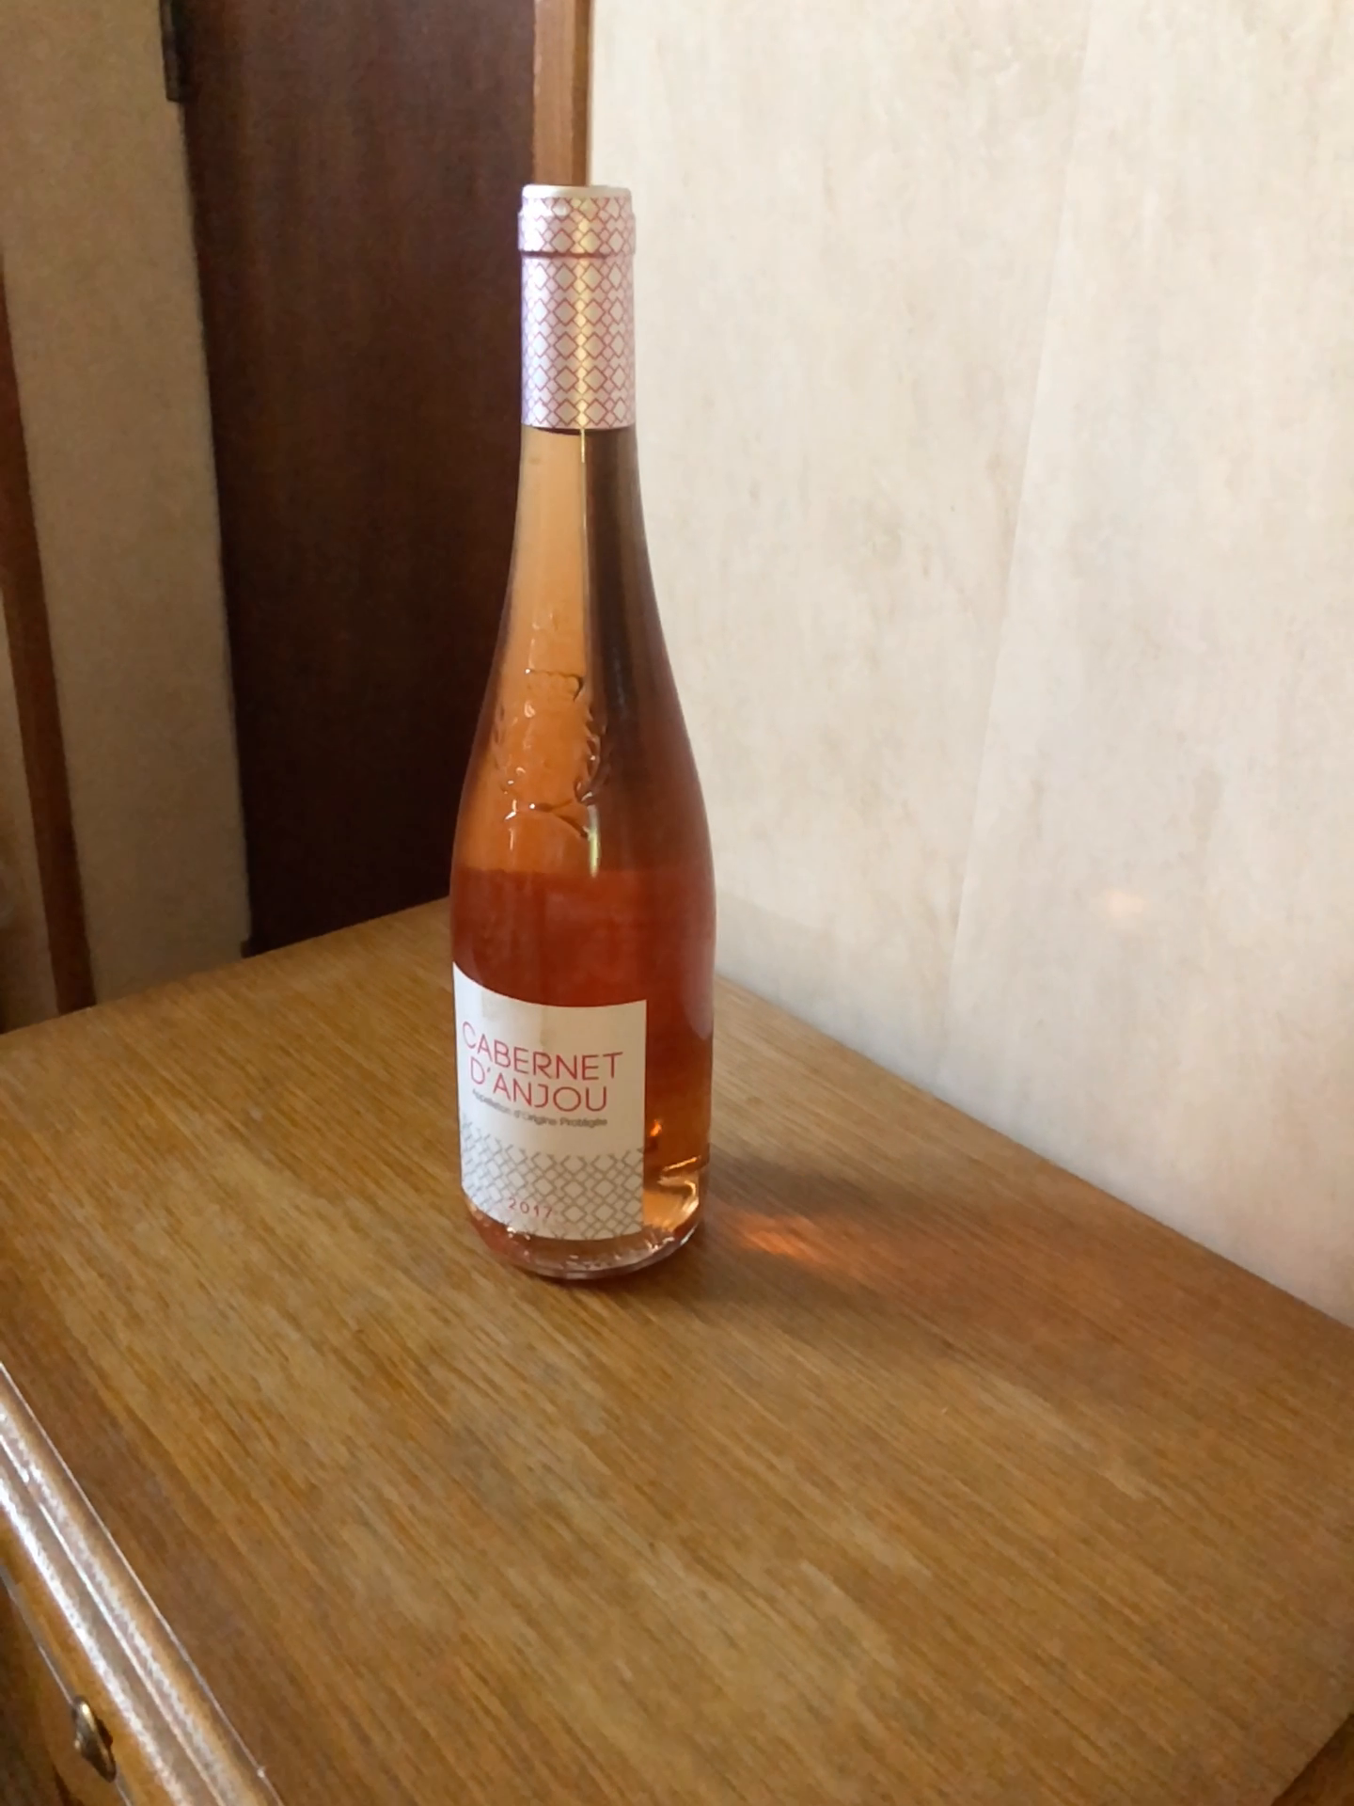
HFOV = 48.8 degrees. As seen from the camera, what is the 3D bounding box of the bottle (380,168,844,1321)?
[{"bbox_3d":[-0.019,-0.039,0.424,0.080,0.298,0.091,13,27,21],"label":"bottle"}]
